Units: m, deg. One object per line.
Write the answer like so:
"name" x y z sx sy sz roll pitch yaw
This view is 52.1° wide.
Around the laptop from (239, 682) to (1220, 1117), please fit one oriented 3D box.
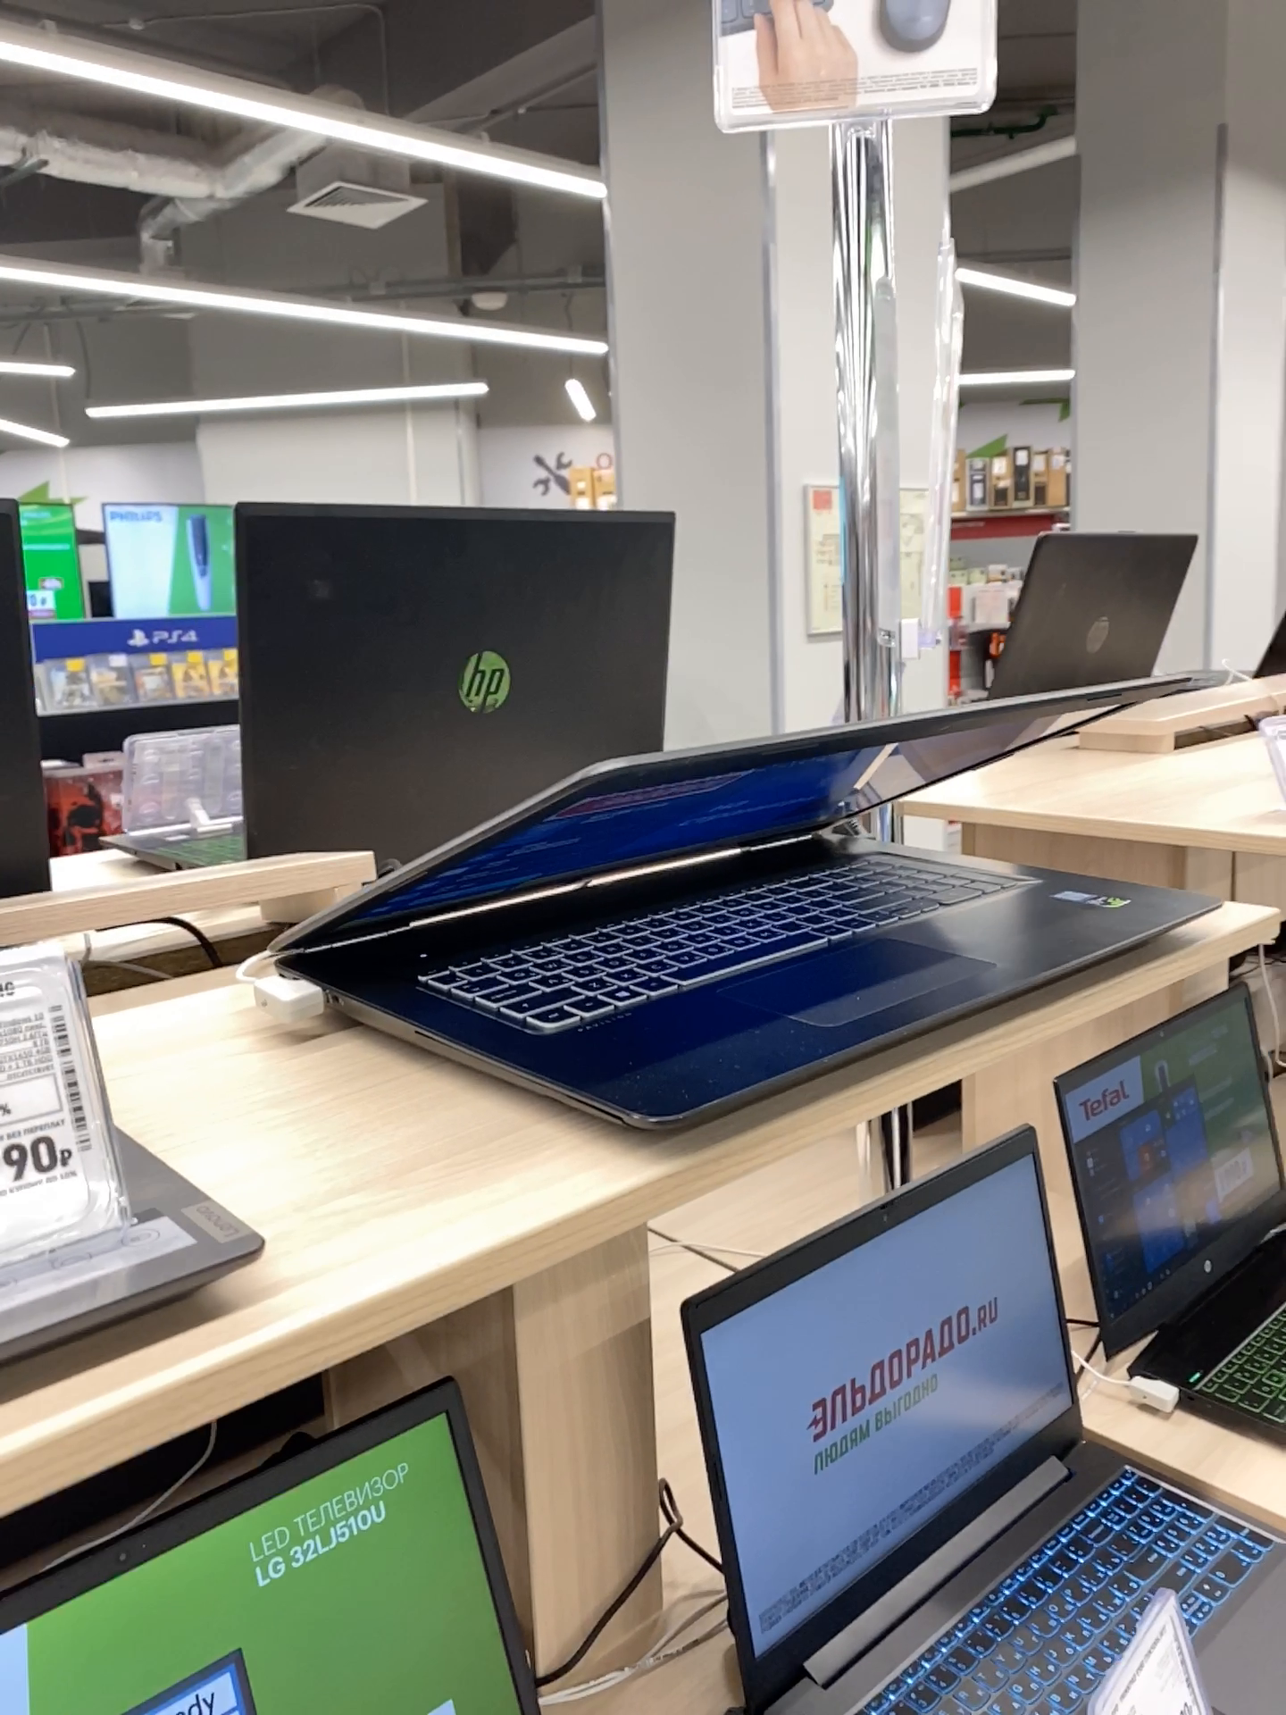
"laptop" 0.056 -0.015 0.642 0.397 0.103 0.263 -11 15 -40
